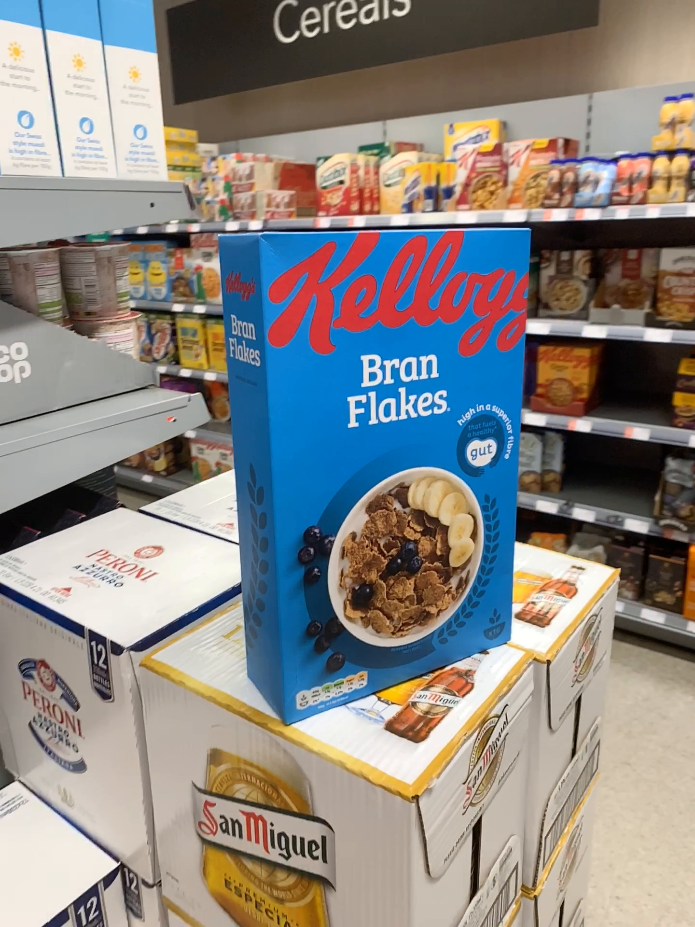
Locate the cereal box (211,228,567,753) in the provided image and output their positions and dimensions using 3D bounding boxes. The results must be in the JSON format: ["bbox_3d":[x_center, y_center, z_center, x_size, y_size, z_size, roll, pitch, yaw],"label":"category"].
[{"bbox_3d":[0.031,0.004,0.450,0.200,0.288,0.070,-10,18,-29],"label":"cereal box"}]
